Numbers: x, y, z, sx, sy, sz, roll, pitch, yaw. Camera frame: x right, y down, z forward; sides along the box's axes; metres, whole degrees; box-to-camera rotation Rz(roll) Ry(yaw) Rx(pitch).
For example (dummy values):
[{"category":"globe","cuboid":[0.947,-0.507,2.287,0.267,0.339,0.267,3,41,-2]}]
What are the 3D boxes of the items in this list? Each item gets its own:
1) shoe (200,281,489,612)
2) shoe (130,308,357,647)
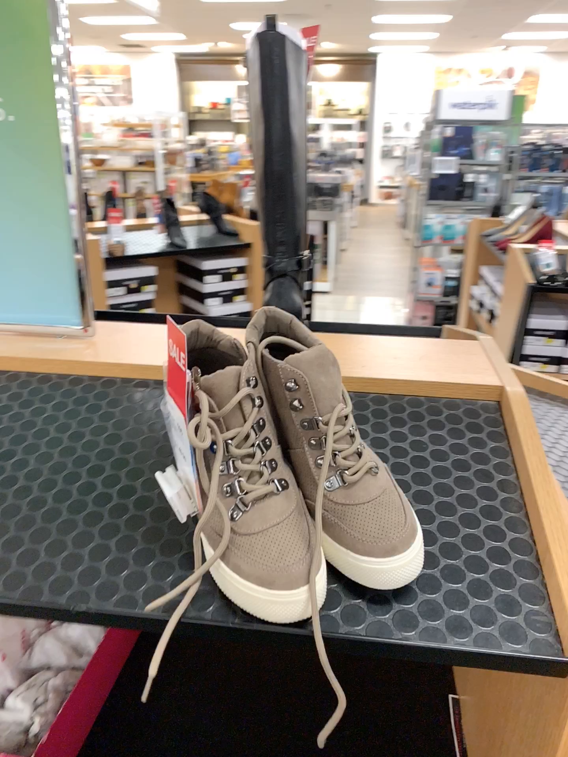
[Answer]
[{"category":"shoe","cuboid":[0.033,0.034,0.531,0.100,0.160,0.291,-17,30,-24]},{"category":"shoe","cuboid":[-0.046,0.061,0.512,0.100,0.160,0.261,-14,28,-20]}]
